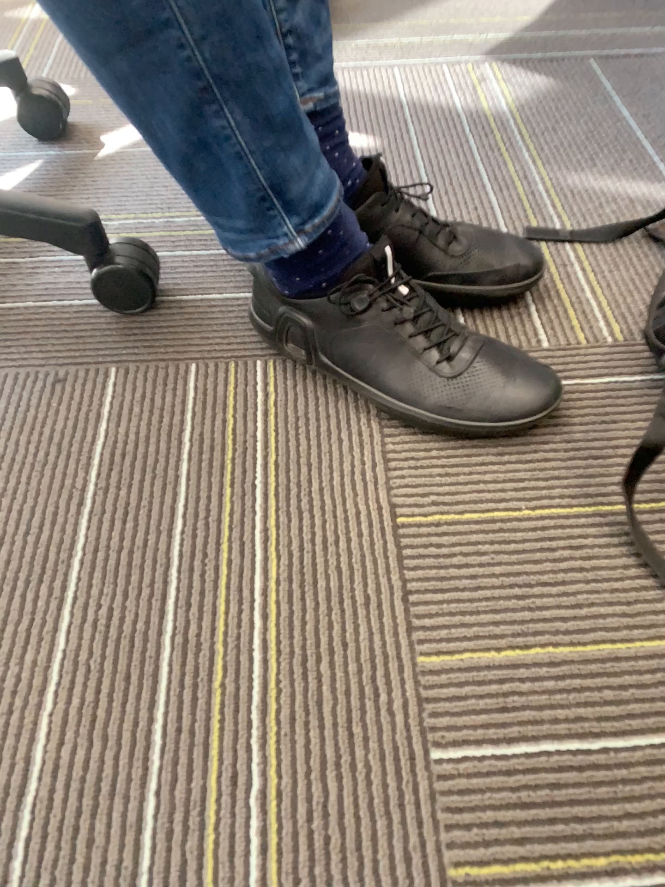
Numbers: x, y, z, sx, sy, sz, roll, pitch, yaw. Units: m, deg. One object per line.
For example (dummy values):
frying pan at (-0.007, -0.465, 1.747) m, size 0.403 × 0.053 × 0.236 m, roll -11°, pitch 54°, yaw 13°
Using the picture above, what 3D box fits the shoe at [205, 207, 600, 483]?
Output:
shoe at (0.053, -0.095, 0.601) m, size 0.310 × 0.100 × 0.110 m, roll 24°, pitch 56°, yaw 18°

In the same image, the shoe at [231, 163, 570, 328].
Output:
shoe at (0.066, -0.204, 0.695) m, size 0.310 × 0.100 × 0.110 m, roll 5°, pitch 52°, yaw 5°
